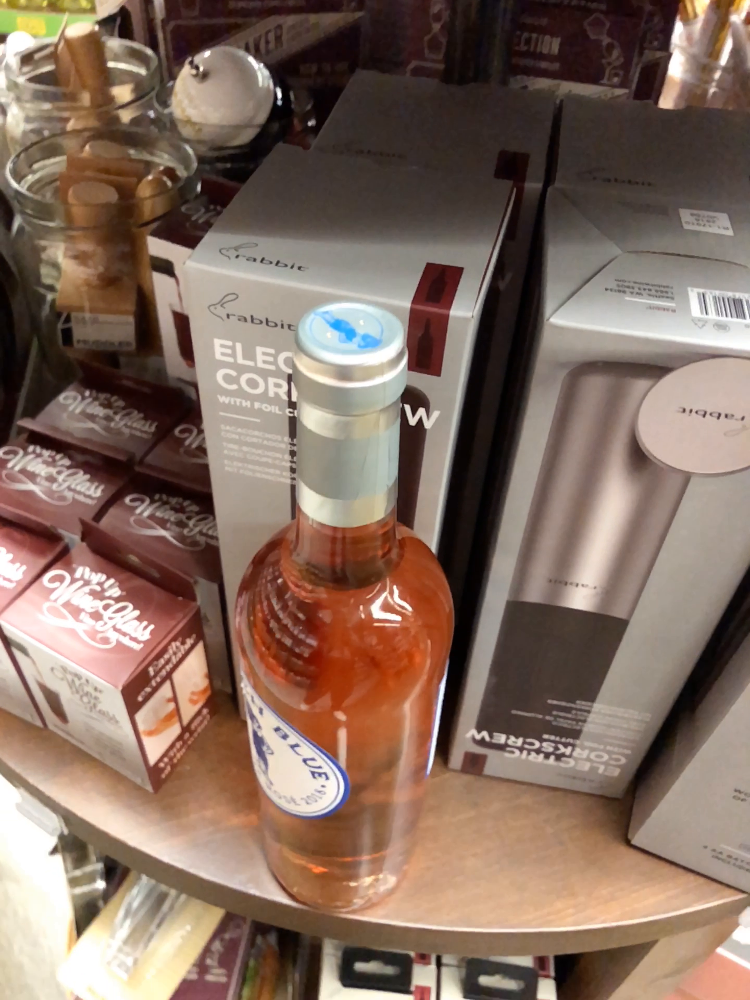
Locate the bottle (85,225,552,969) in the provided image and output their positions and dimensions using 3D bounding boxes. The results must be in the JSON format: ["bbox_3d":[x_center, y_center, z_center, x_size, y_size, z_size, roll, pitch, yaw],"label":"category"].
[{"bbox_3d":[-0.017,0.063,0.302,0.080,0.289,0.078,1,45,-1],"label":"bottle"}]
